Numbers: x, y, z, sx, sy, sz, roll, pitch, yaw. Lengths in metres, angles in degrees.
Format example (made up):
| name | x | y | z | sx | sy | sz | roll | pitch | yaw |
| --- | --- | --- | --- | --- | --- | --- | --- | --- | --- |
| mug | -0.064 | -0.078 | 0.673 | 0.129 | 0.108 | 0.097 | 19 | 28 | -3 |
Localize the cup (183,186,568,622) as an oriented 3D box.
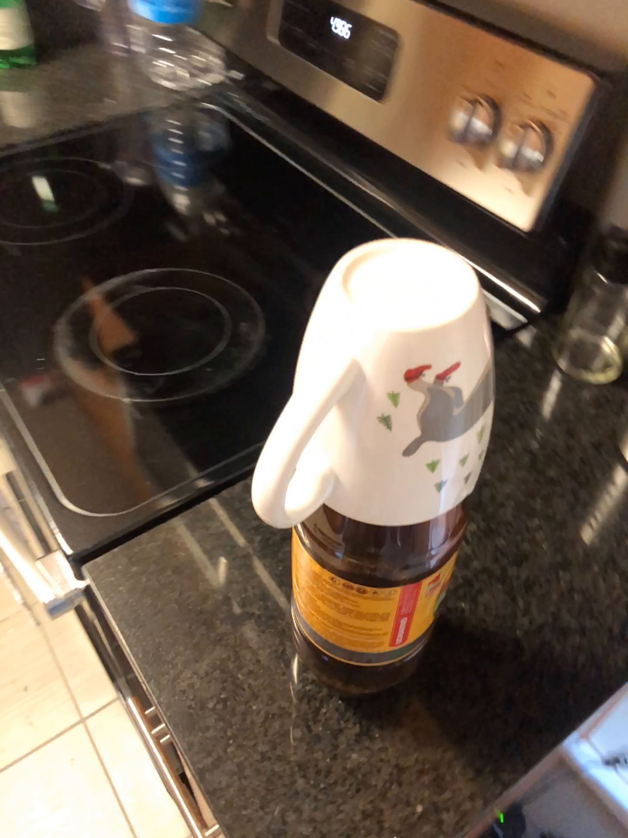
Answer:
| name | x | y | z | sx | sy | sz | roll | pitch | yaw |
| --- | --- | --- | --- | --- | --- | --- | --- | --- | --- |
| cup | 0.029 | -0.012 | 0.320 | 0.100 | 0.110 | 0.140 | 27 | 51 | 20 |
